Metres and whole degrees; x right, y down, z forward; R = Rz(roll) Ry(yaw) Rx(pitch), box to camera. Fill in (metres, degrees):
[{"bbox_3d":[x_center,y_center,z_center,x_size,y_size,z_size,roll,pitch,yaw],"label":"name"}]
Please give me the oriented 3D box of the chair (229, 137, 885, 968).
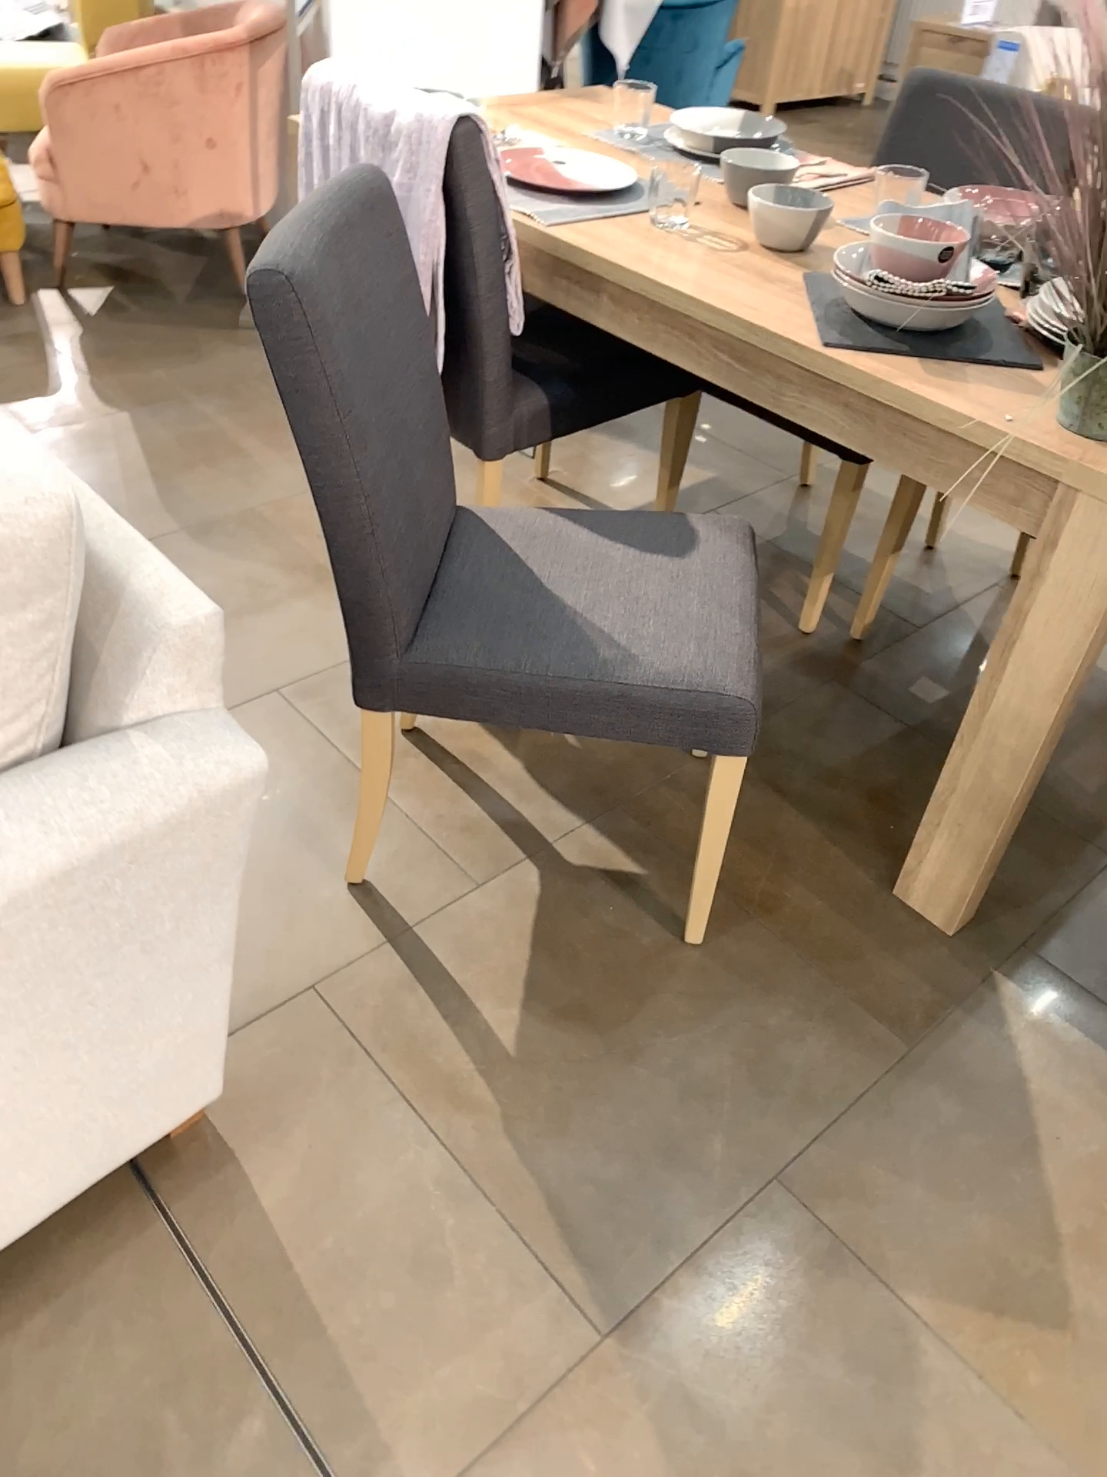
[{"bbox_3d":[-0.002,-0.225,1.517,0.614,0.889,0.511,9,40,4],"label":"chair"}]
